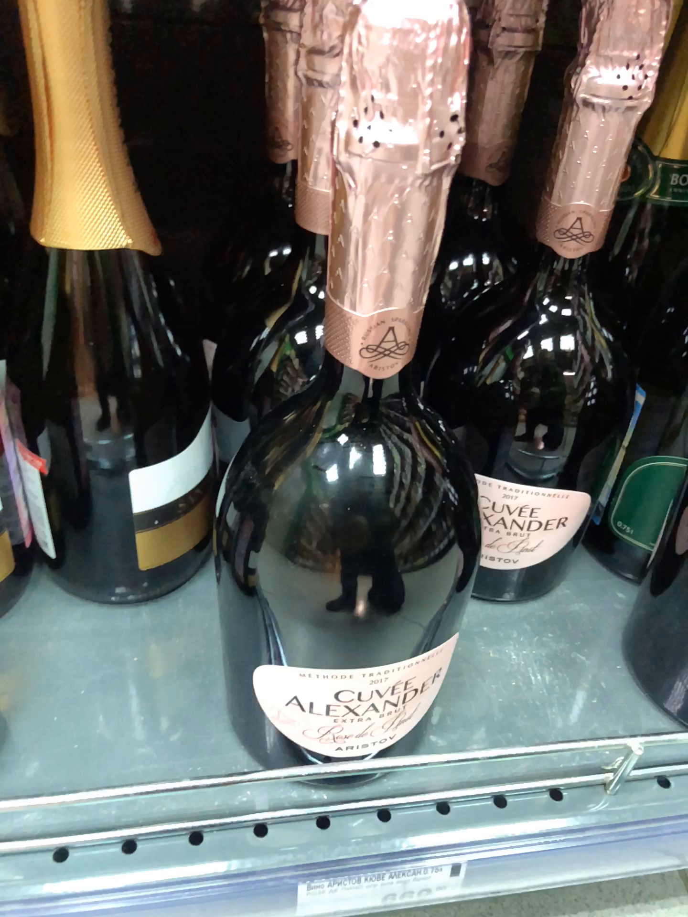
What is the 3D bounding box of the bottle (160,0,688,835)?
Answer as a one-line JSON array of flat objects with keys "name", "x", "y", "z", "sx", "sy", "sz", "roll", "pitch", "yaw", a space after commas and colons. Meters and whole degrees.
[{"name": "bottle", "x": 0.005, "y": 0.002, "z": 0.259, "sx": 0.110, "sy": 0.278, "sz": 0.091, "roll": -5, "pitch": 38, "yaw": -14}]
